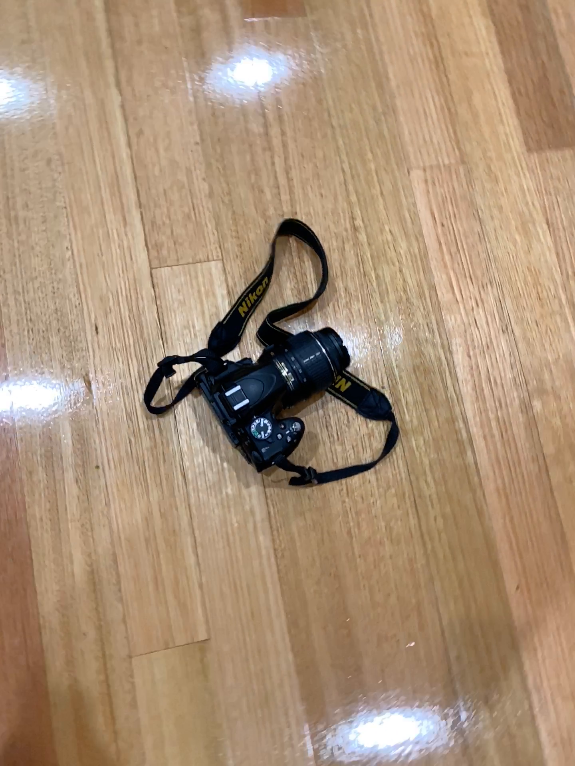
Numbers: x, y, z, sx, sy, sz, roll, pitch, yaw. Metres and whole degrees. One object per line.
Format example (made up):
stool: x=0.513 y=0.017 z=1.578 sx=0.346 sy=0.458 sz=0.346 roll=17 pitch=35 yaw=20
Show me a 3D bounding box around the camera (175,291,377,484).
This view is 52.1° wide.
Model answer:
camera: x=-0.015 y=0.009 z=0.645 sx=0.160 sy=0.100 sz=0.130 roll=-34 pitch=85 yaw=-11
